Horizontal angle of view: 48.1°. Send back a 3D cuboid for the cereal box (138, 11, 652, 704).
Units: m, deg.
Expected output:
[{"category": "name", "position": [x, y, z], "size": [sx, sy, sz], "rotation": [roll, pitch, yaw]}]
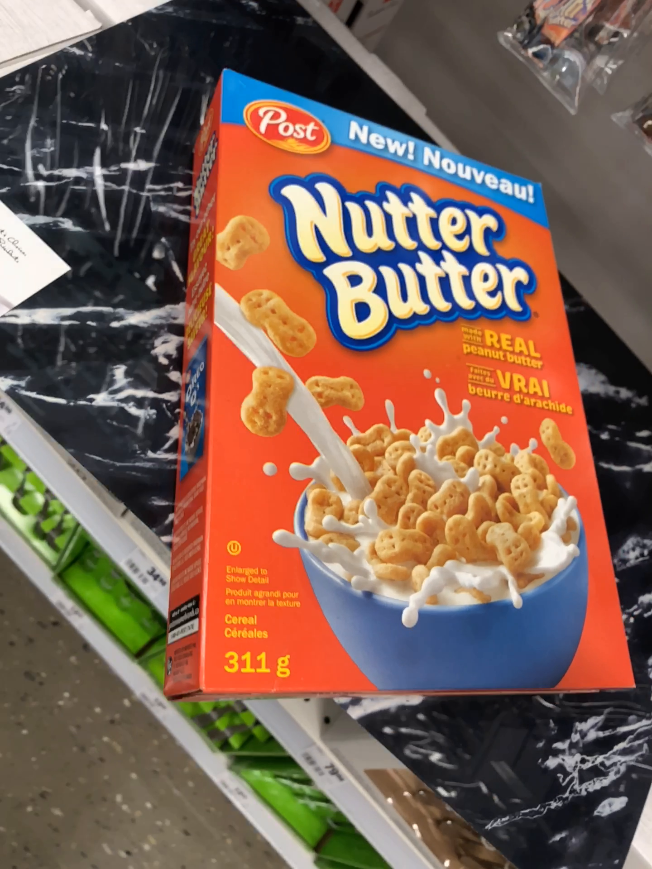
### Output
[{"category": "cereal box", "position": [0.033, -0.034, 0.347], "size": [0.211, 0.050, 0.300], "rotation": [8, 67, -23]}]
